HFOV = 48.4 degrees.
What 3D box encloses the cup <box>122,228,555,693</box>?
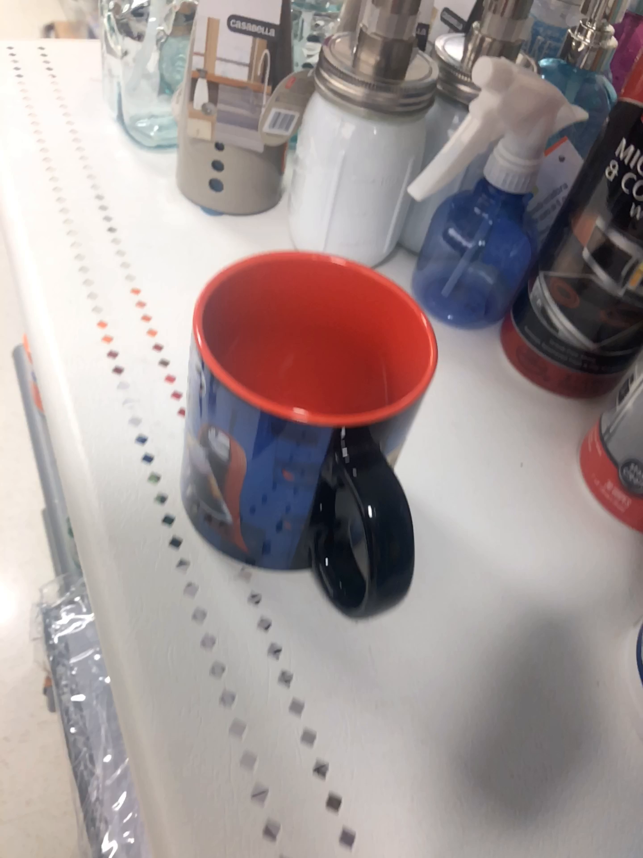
[{"bbox_3d":[-0.007,0.006,0.313,0.113,0.103,0.148,-16,55,-26],"label":"cup"}]
